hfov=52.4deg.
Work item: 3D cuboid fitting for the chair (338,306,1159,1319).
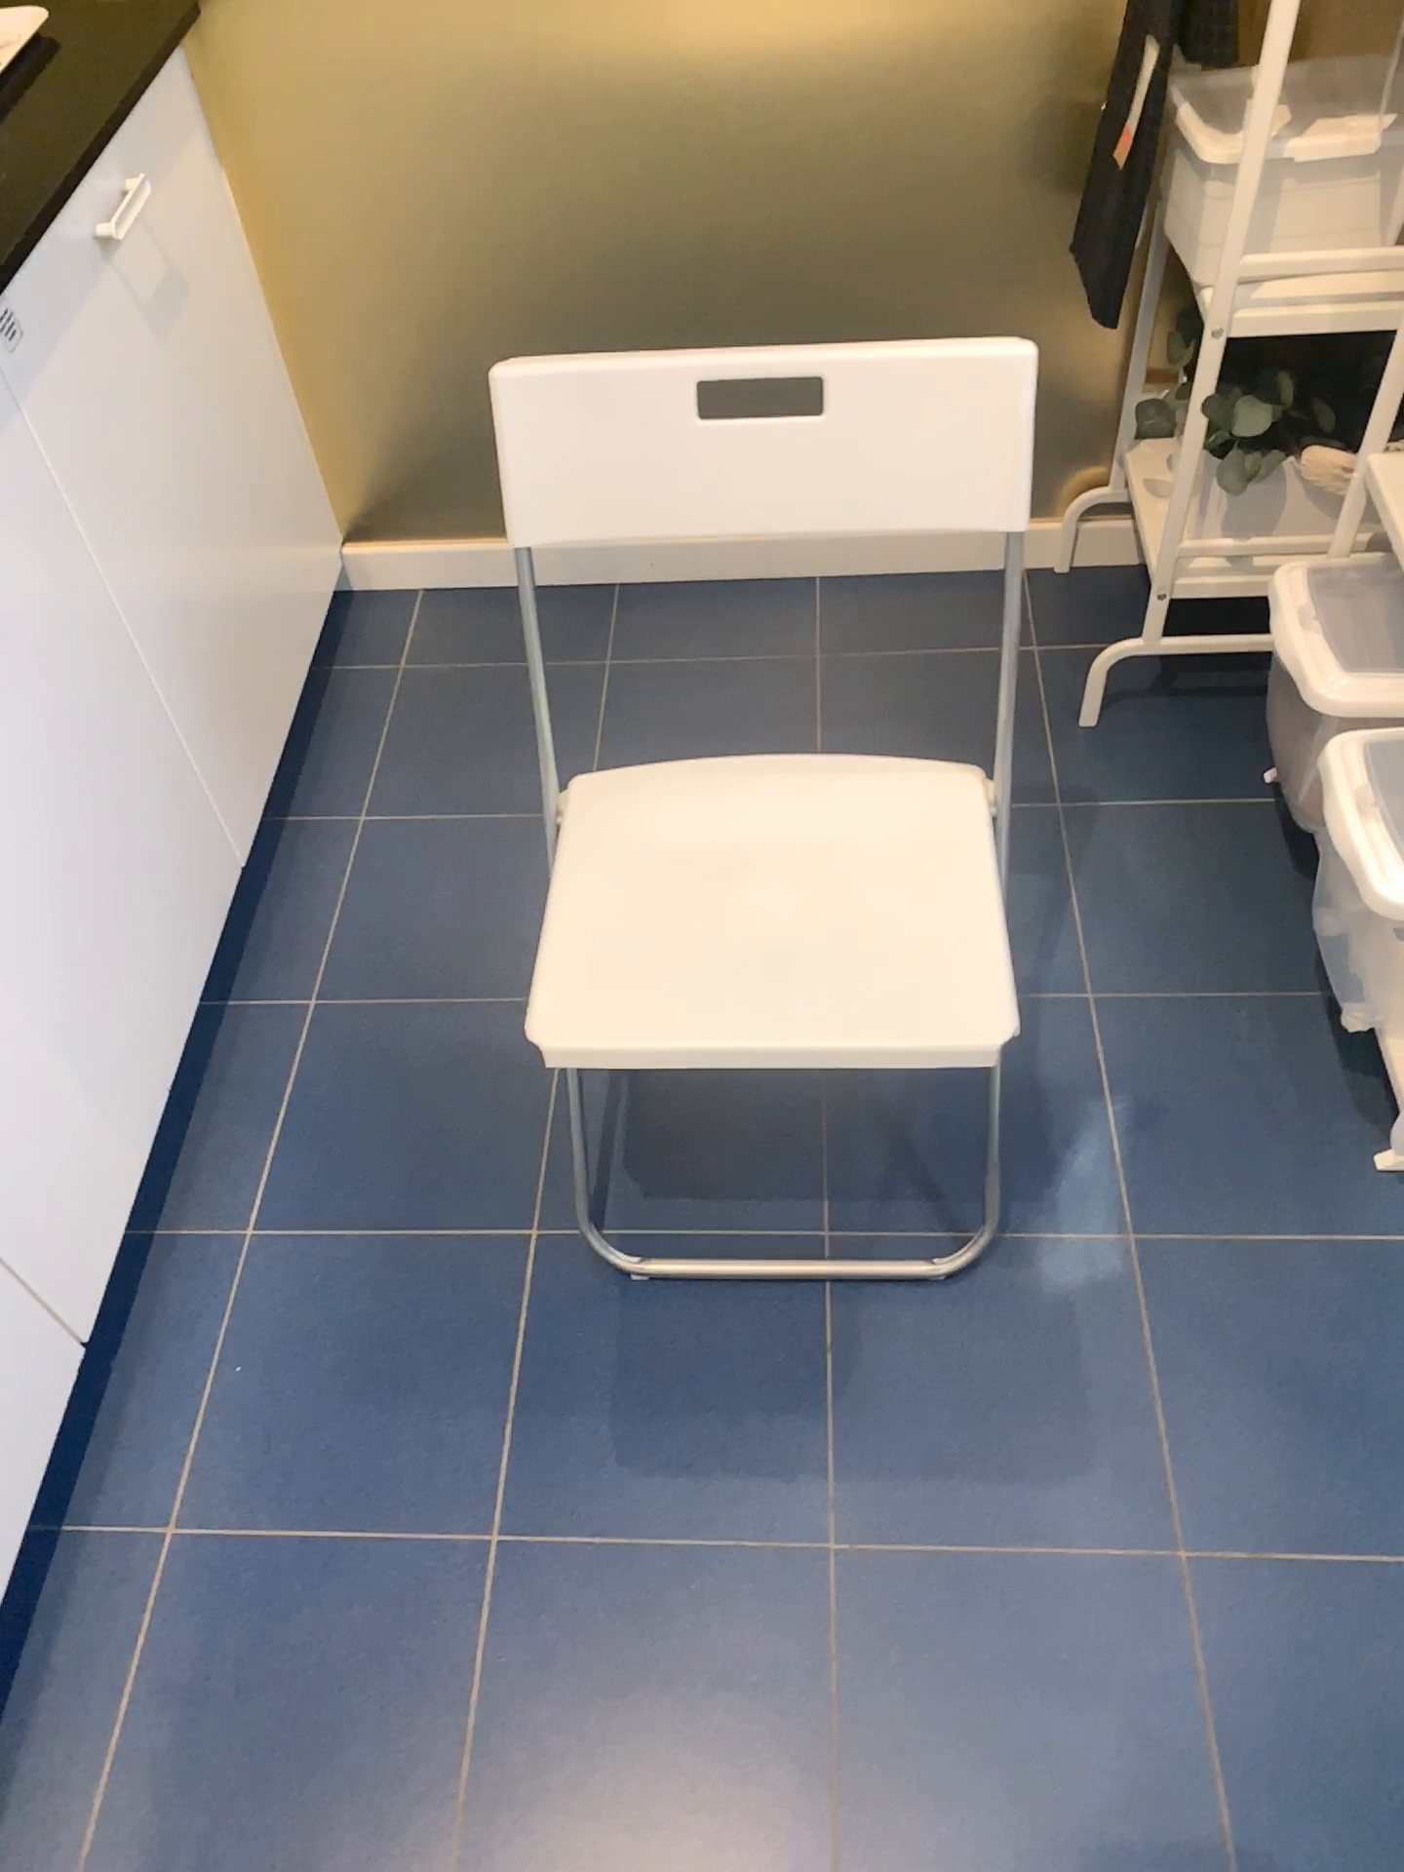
[{"bbox_3d":[0.056,-0.044,1.184,0.440,0.747,0.421,-1,50,5],"label":"chair"}]
